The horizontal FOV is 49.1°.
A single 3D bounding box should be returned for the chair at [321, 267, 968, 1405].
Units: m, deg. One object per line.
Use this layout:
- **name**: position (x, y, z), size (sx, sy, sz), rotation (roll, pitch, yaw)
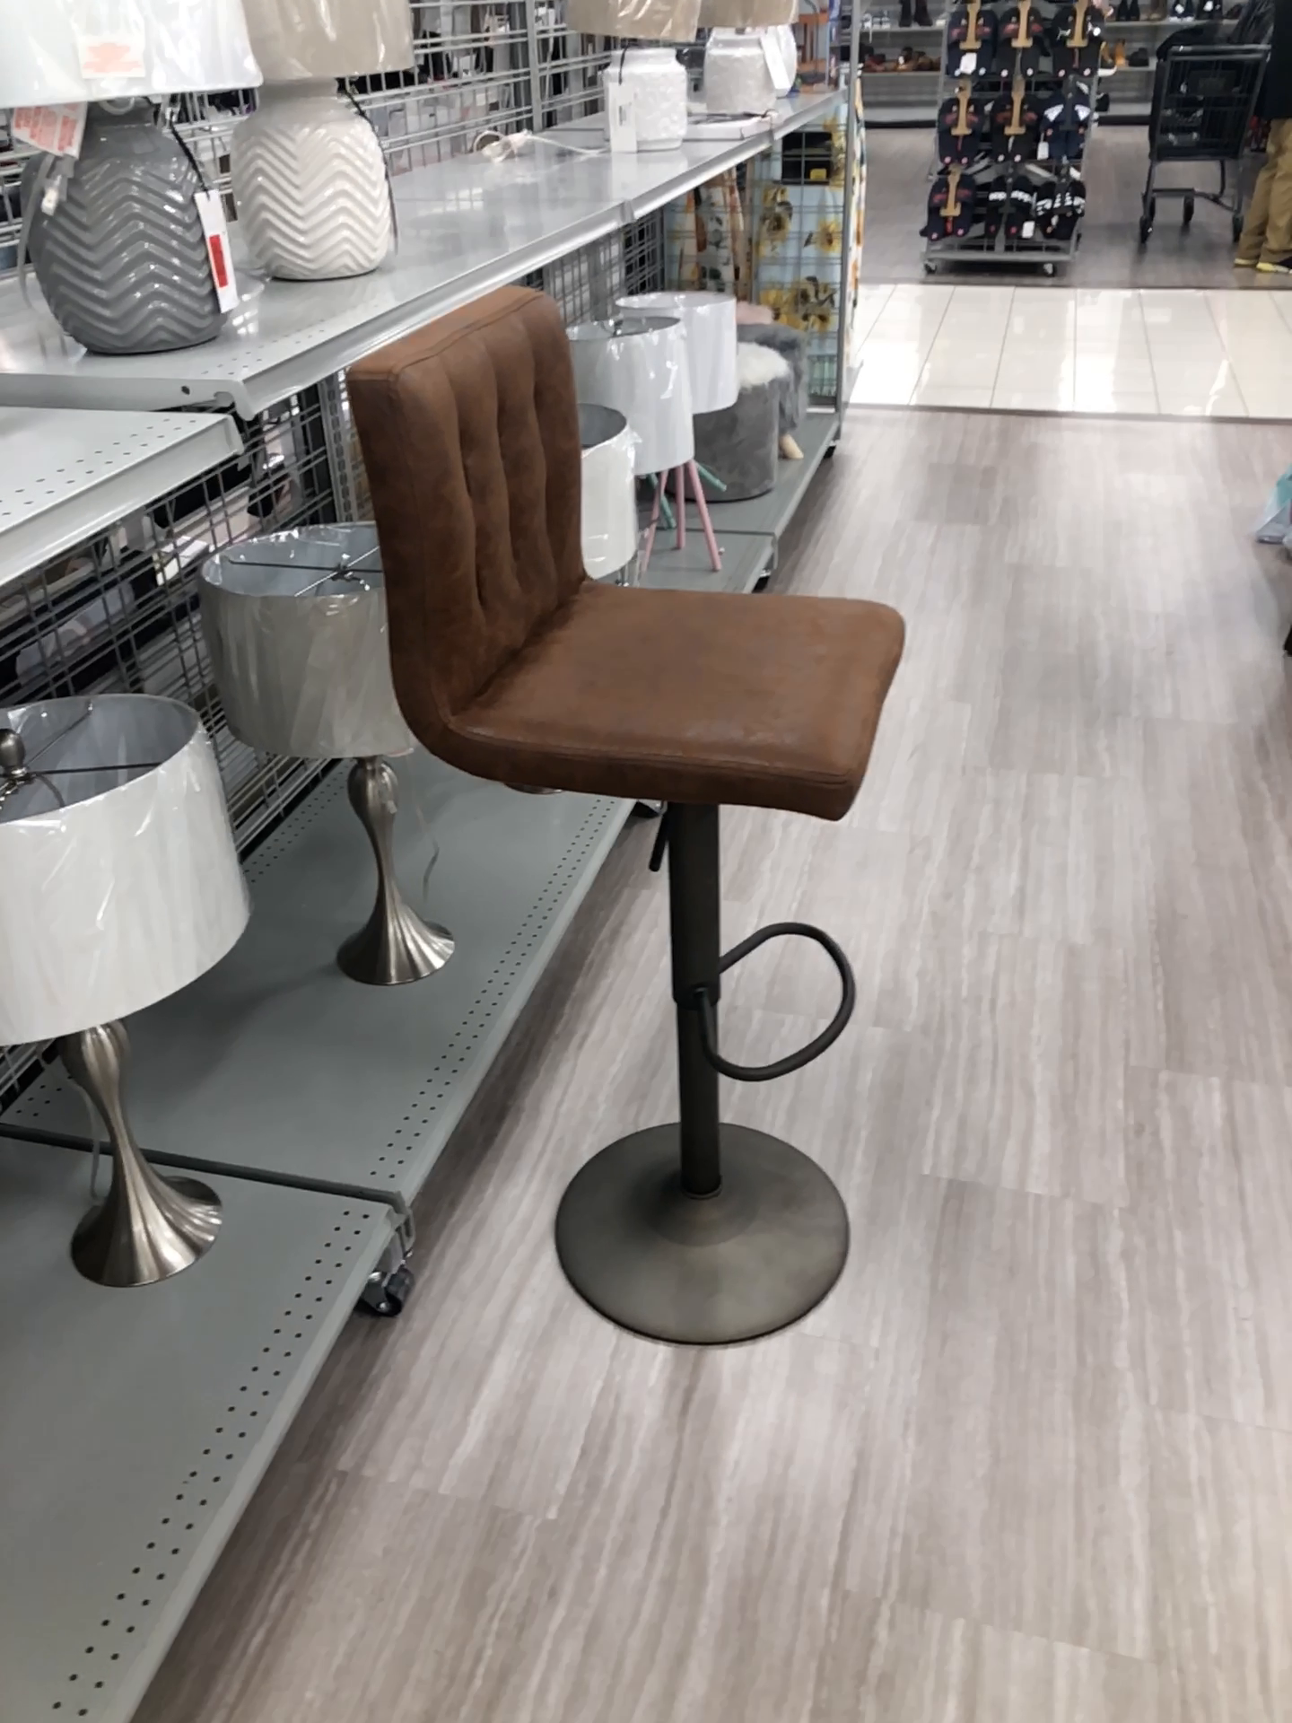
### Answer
- **chair**: position (0.049, -0.013, 1.539), size (0.468, 1.102, 0.477), rotation (6, 32, 13)
